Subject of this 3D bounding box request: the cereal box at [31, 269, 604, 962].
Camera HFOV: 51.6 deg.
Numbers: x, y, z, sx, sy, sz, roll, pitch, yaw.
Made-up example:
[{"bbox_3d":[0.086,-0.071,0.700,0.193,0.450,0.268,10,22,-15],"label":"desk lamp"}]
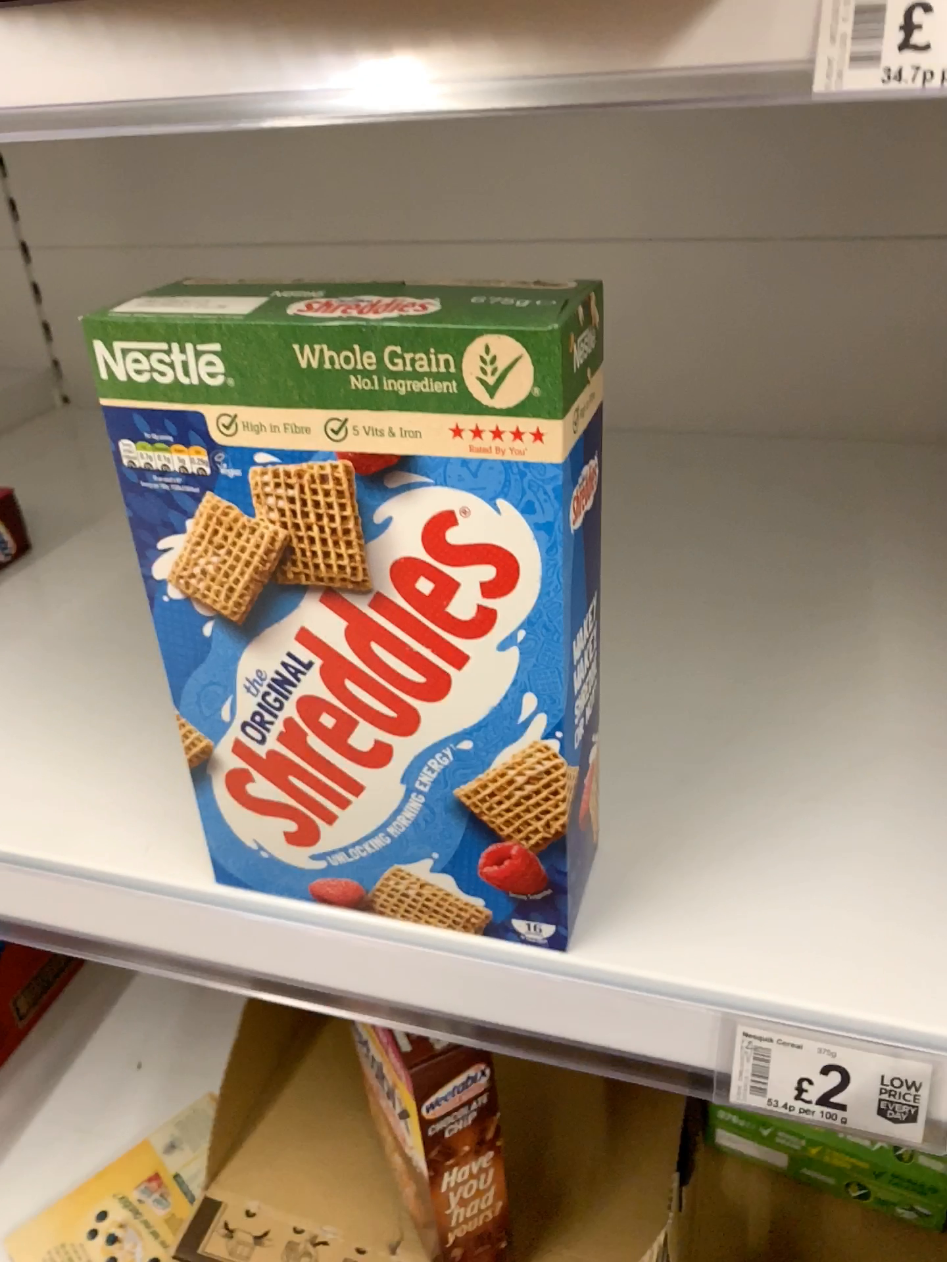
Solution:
[{"bbox_3d":[-0.049,-0.004,0.439,0.200,0.287,0.081,6,31,17],"label":"cereal box"}]
